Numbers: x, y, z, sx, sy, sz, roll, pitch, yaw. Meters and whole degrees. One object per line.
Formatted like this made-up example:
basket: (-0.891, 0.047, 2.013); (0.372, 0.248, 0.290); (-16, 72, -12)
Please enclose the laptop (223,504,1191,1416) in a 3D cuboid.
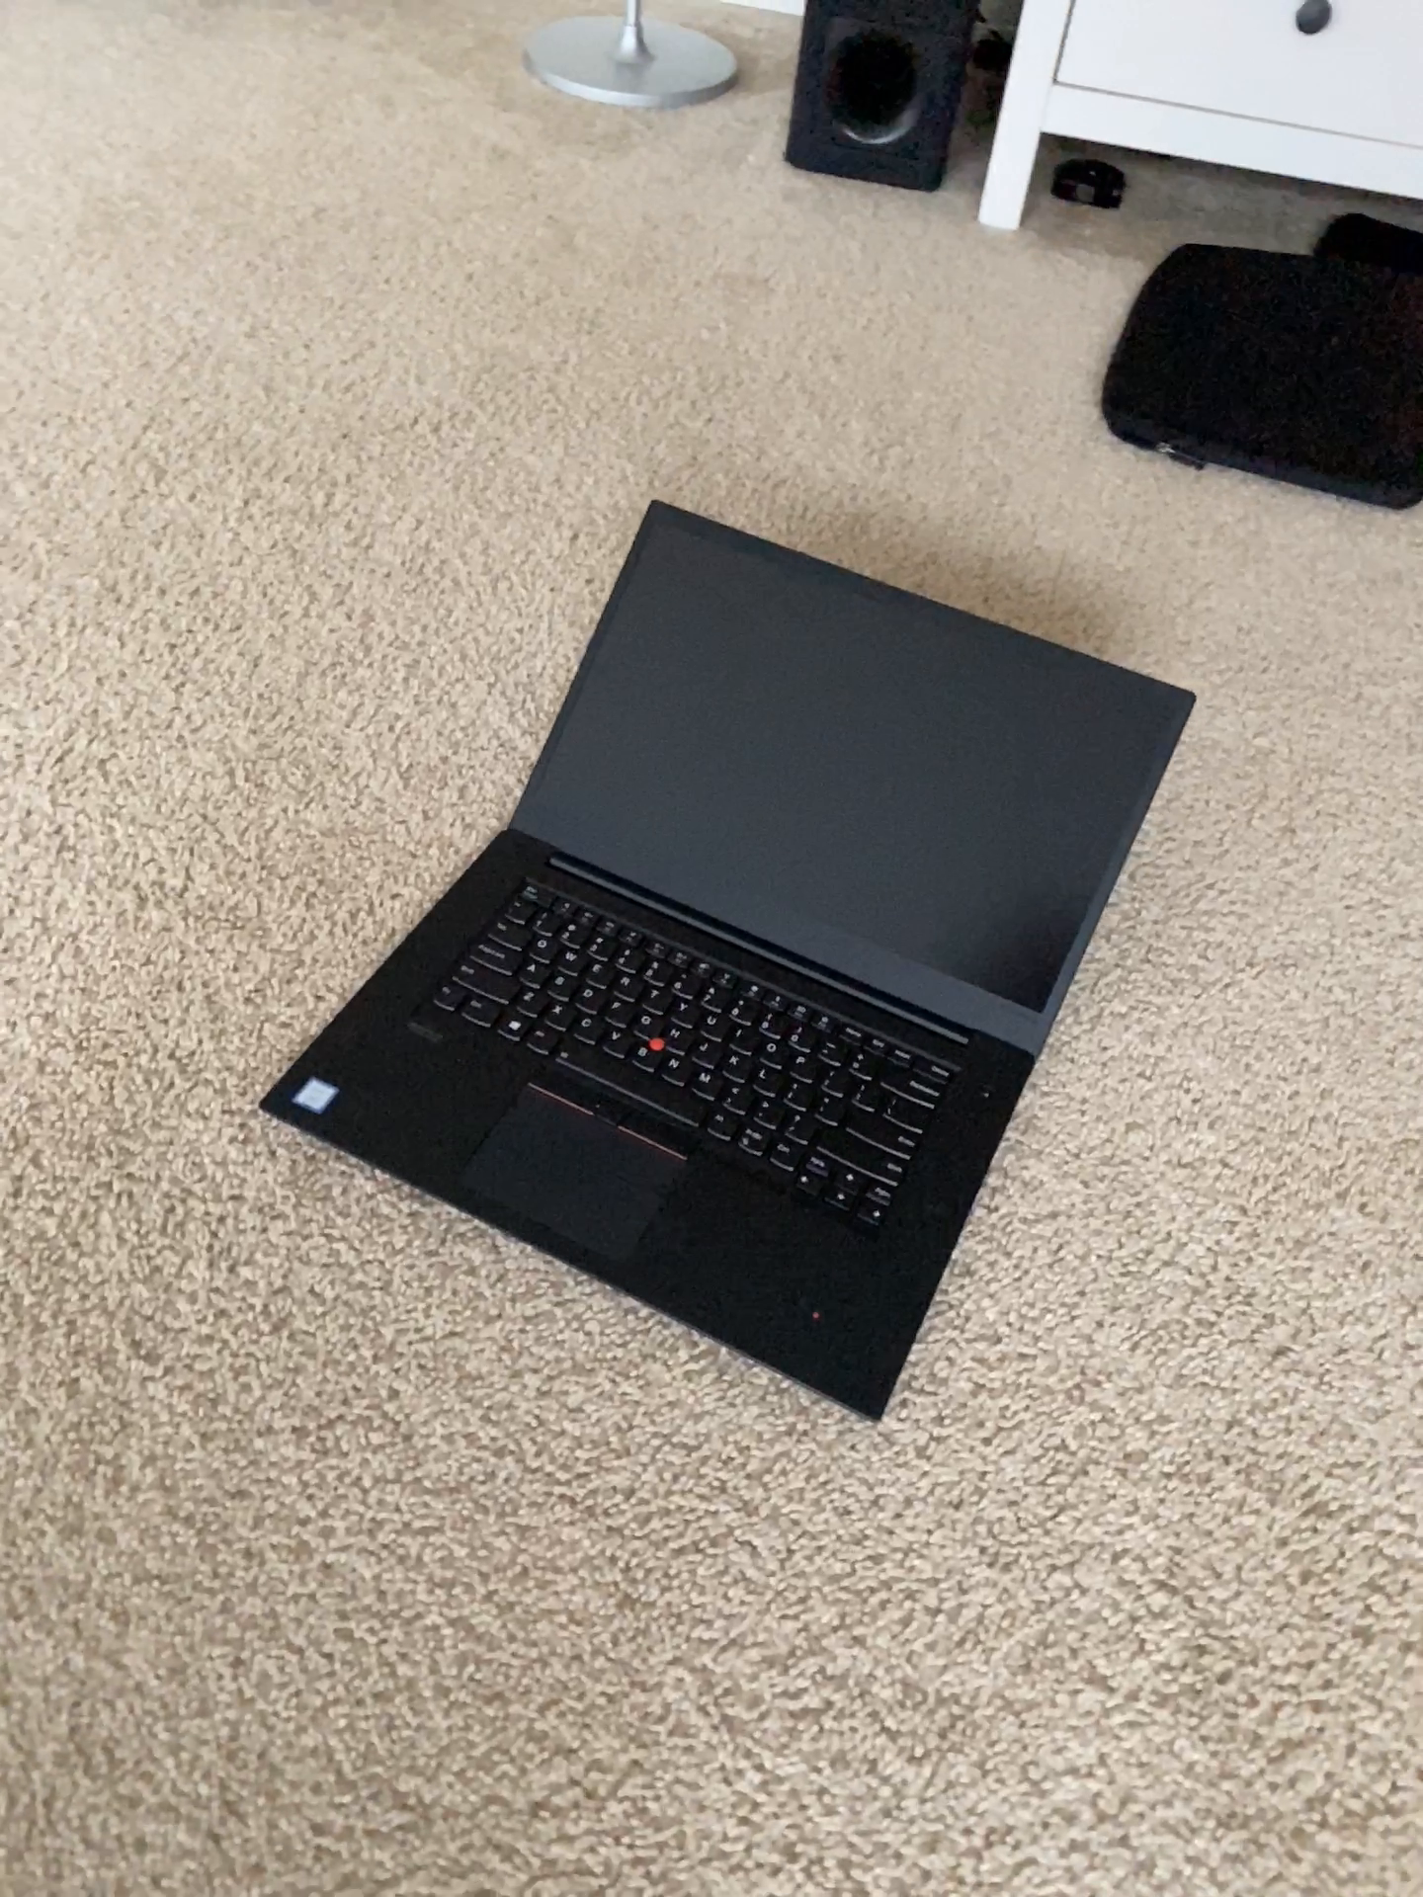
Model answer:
laptop: (0.022, -0.032, 0.821); (0.360, 0.142, 0.434); (24, 51, 14)
